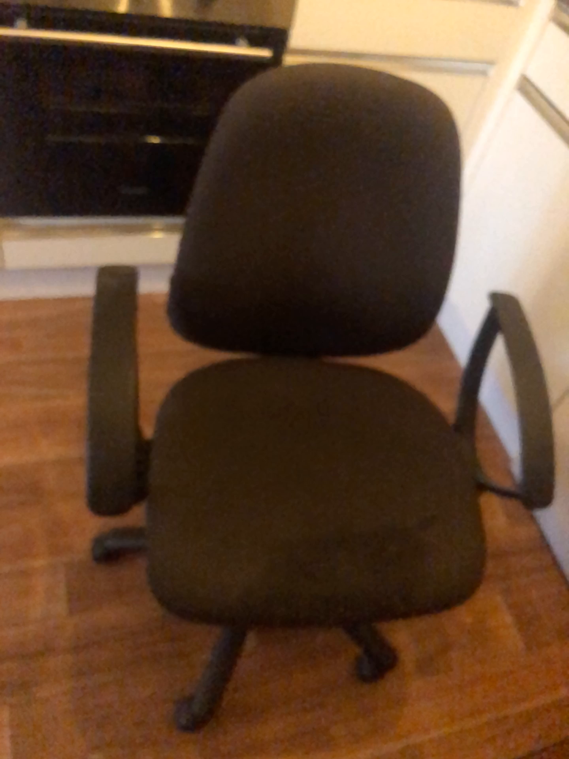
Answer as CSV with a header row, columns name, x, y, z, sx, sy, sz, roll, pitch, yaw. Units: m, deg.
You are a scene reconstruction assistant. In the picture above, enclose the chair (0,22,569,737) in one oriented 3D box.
name,x,y,z,sx,sy,sz,roll,pitch,yaw
chair,0.038,0.082,0.980,0.673,0.816,0.655,4,50,-11
